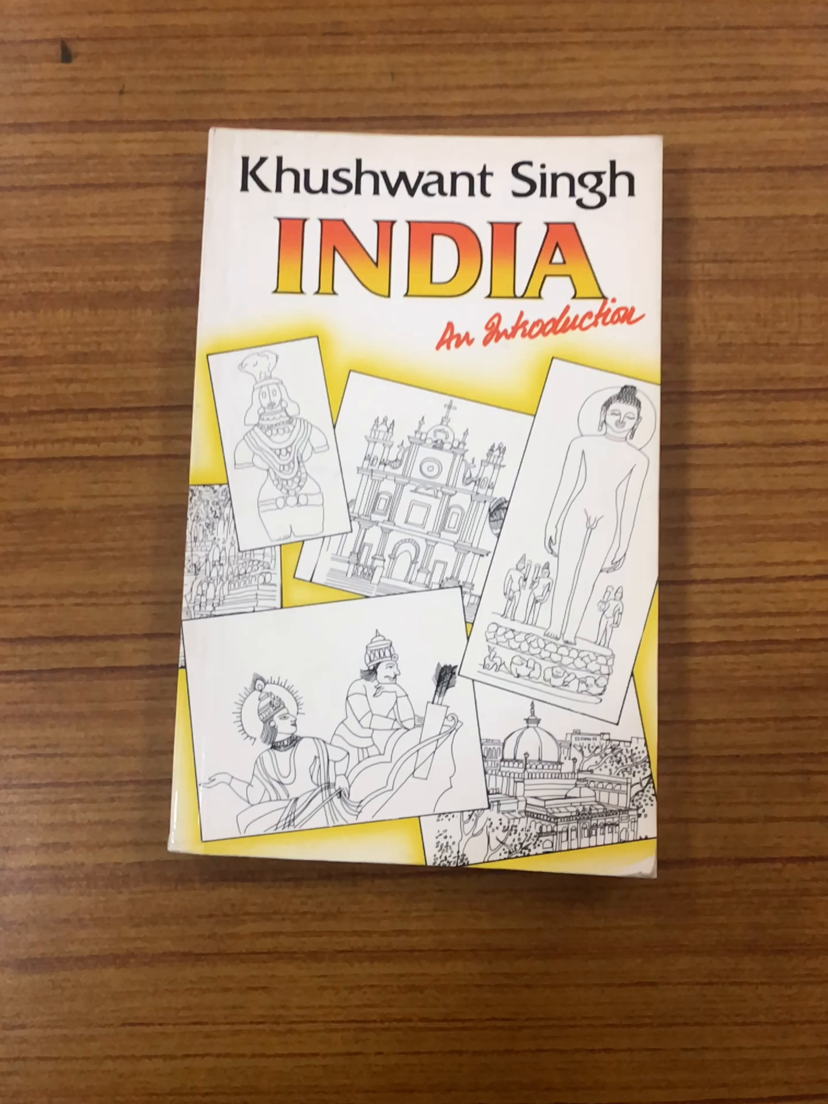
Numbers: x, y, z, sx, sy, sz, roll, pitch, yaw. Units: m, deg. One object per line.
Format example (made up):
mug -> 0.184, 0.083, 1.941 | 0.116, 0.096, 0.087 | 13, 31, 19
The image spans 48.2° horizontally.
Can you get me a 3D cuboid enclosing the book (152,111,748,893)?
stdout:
book -> 0.012, -0.016, 0.239 | 0.140, 0.020, 0.190 | 2, 84, 1
